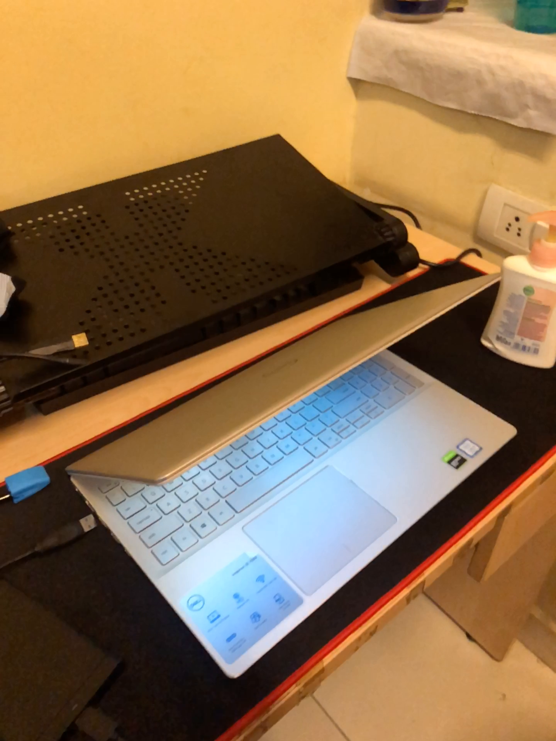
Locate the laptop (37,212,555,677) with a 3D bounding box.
[{"bbox_3d":[0.027,0.024,0.528,0.352,0.139,0.218,-30,50,-31],"label":"laptop"}]
